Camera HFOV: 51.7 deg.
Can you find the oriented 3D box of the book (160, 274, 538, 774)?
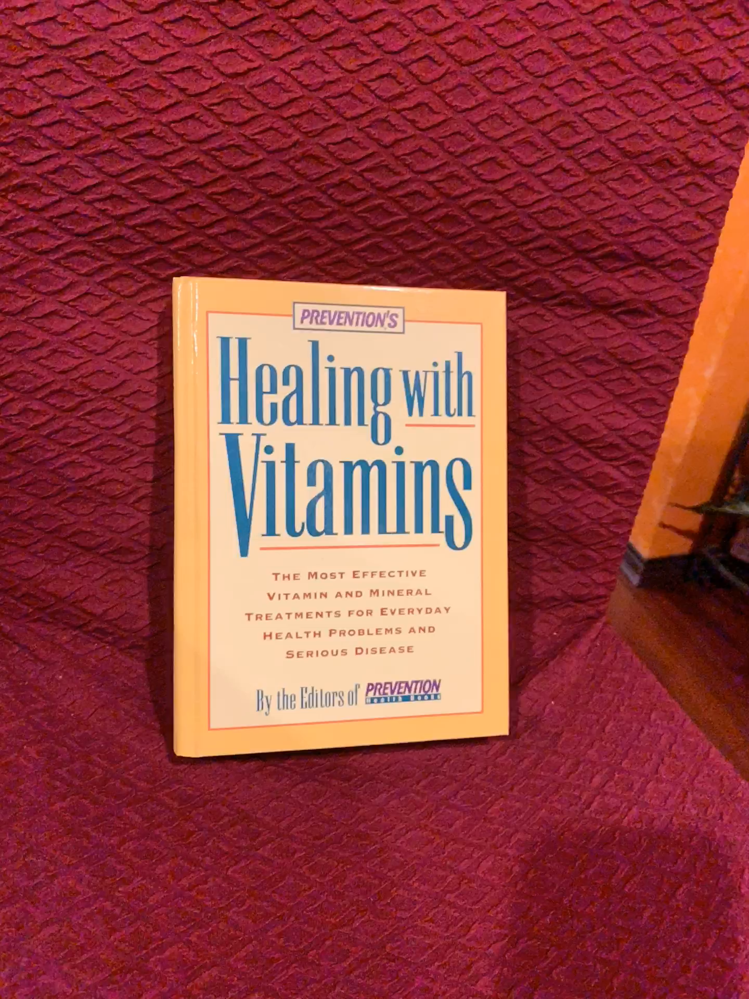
[{"bbox_3d":[-0.012,0.011,0.408,0.190,0.240,0.040,-1,1,-11],"label":"book"}]
